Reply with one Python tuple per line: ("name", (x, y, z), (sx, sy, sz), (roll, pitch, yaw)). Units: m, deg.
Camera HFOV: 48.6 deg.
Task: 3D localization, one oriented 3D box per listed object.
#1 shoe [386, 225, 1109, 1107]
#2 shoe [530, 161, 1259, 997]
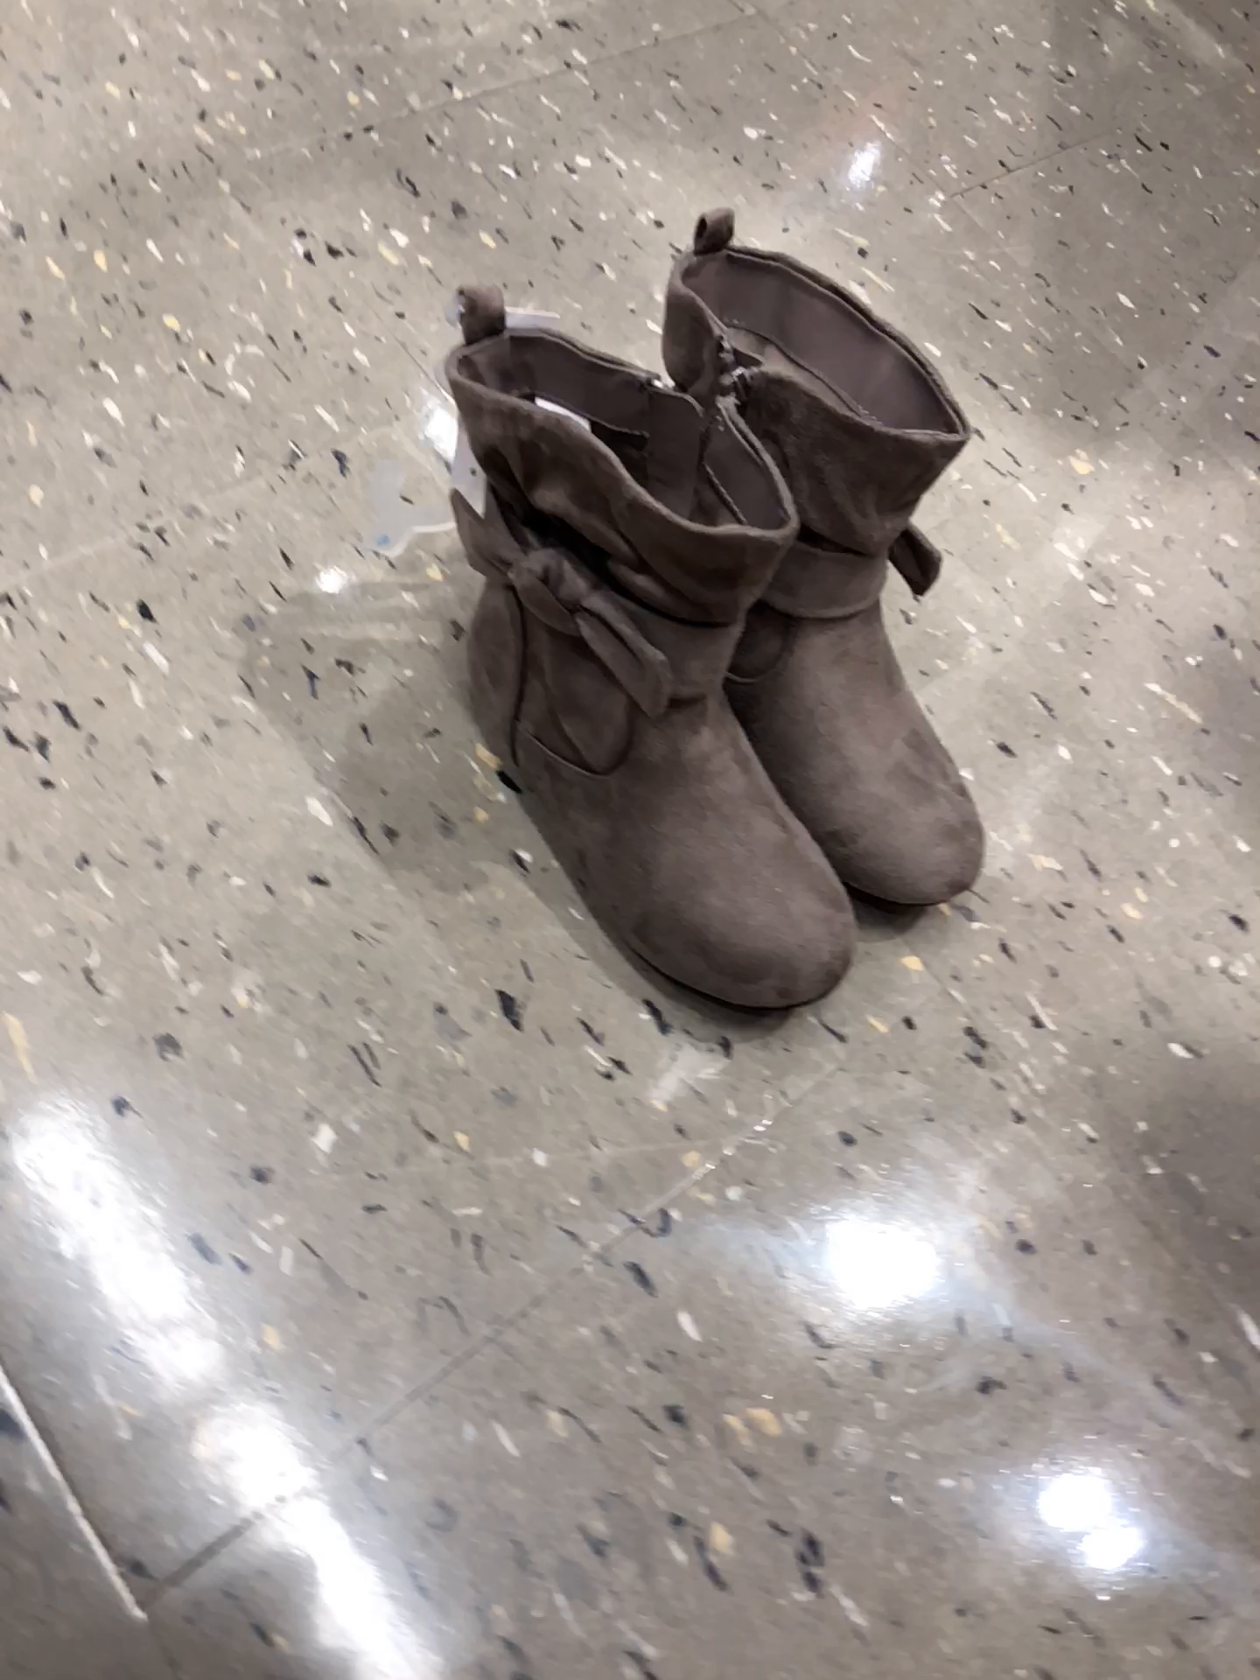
("shoe", (0.015, -0.046, 0.427), (0.080, 0.160, 0.200), (-27, 72, -24))
("shoe", (0.065, -0.078, 0.455), (0.080, 0.160, 0.200), (-27, 72, -24))
